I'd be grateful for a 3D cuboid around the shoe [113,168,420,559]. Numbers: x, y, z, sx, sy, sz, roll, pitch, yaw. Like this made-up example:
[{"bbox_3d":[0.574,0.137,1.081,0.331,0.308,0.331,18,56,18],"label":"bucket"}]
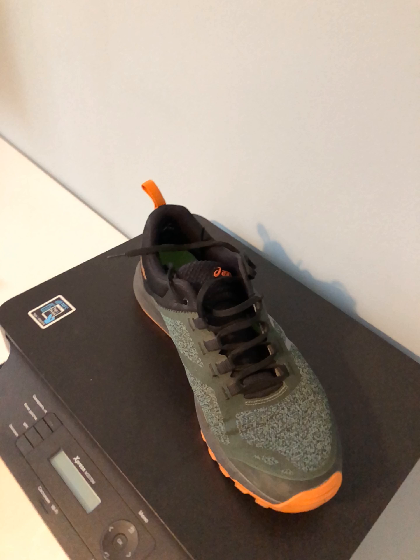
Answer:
[{"bbox_3d":[0.024,0.041,0.408,0.120,0.119,0.312,-16,48,-21],"label":"shoe"}]
